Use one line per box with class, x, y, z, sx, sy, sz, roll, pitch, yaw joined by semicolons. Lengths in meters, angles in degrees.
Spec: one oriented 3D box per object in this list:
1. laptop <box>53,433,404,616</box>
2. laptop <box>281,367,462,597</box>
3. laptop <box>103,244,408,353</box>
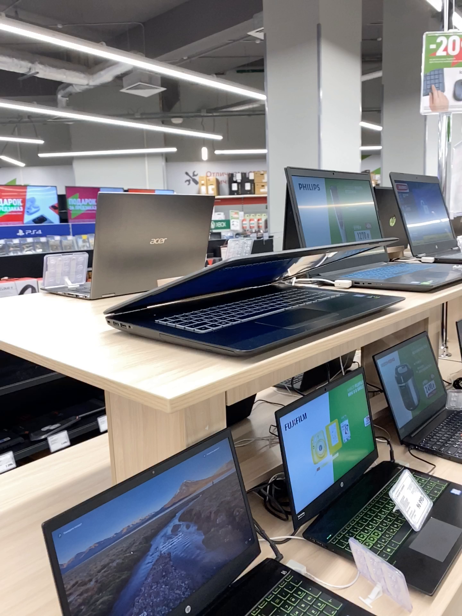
laptop;0.010;0.368;0.642;0.315;0.220;0.344;5;11;40
laptop;0.325;0.302;0.961;0.299;0.226;0.354;7;13;42
laptop;0.057;-0.041;0.728;0.271;0.084;0.404;9;15;42
